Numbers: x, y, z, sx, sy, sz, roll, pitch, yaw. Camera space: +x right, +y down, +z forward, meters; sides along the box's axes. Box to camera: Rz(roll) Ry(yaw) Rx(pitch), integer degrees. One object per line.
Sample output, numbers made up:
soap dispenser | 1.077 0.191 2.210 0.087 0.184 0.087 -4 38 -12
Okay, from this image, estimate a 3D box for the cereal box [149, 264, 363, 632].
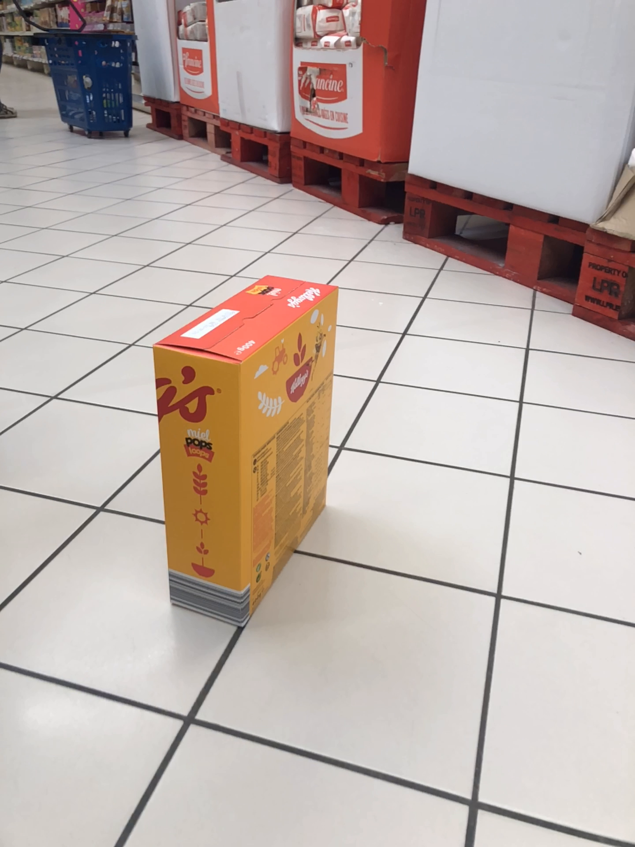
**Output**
cereal box | -0.040 0.011 0.593 0.090 0.239 0.191 11 29 18
